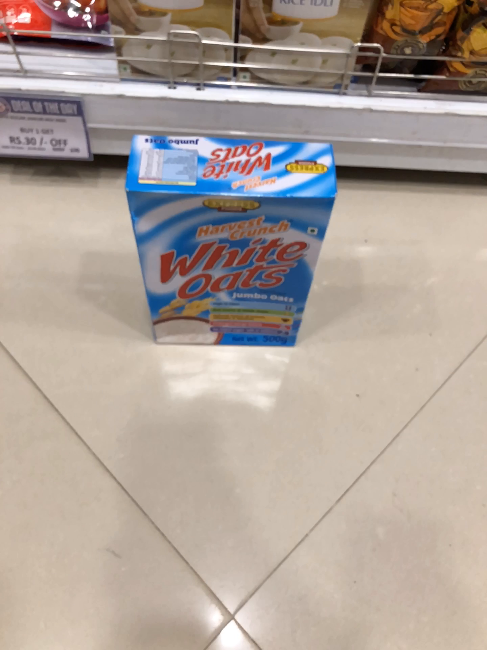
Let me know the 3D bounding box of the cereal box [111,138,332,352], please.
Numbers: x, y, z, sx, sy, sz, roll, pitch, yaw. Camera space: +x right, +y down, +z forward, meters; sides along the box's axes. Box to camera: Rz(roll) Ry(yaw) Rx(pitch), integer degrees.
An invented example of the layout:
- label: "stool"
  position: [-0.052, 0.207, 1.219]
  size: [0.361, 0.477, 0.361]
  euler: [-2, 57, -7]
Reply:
- label: "cereal box"
  position: [-0.020, -0.054, 0.480]
  size: [0.150, 0.219, 0.060]
  euler: [2, 61, -3]
